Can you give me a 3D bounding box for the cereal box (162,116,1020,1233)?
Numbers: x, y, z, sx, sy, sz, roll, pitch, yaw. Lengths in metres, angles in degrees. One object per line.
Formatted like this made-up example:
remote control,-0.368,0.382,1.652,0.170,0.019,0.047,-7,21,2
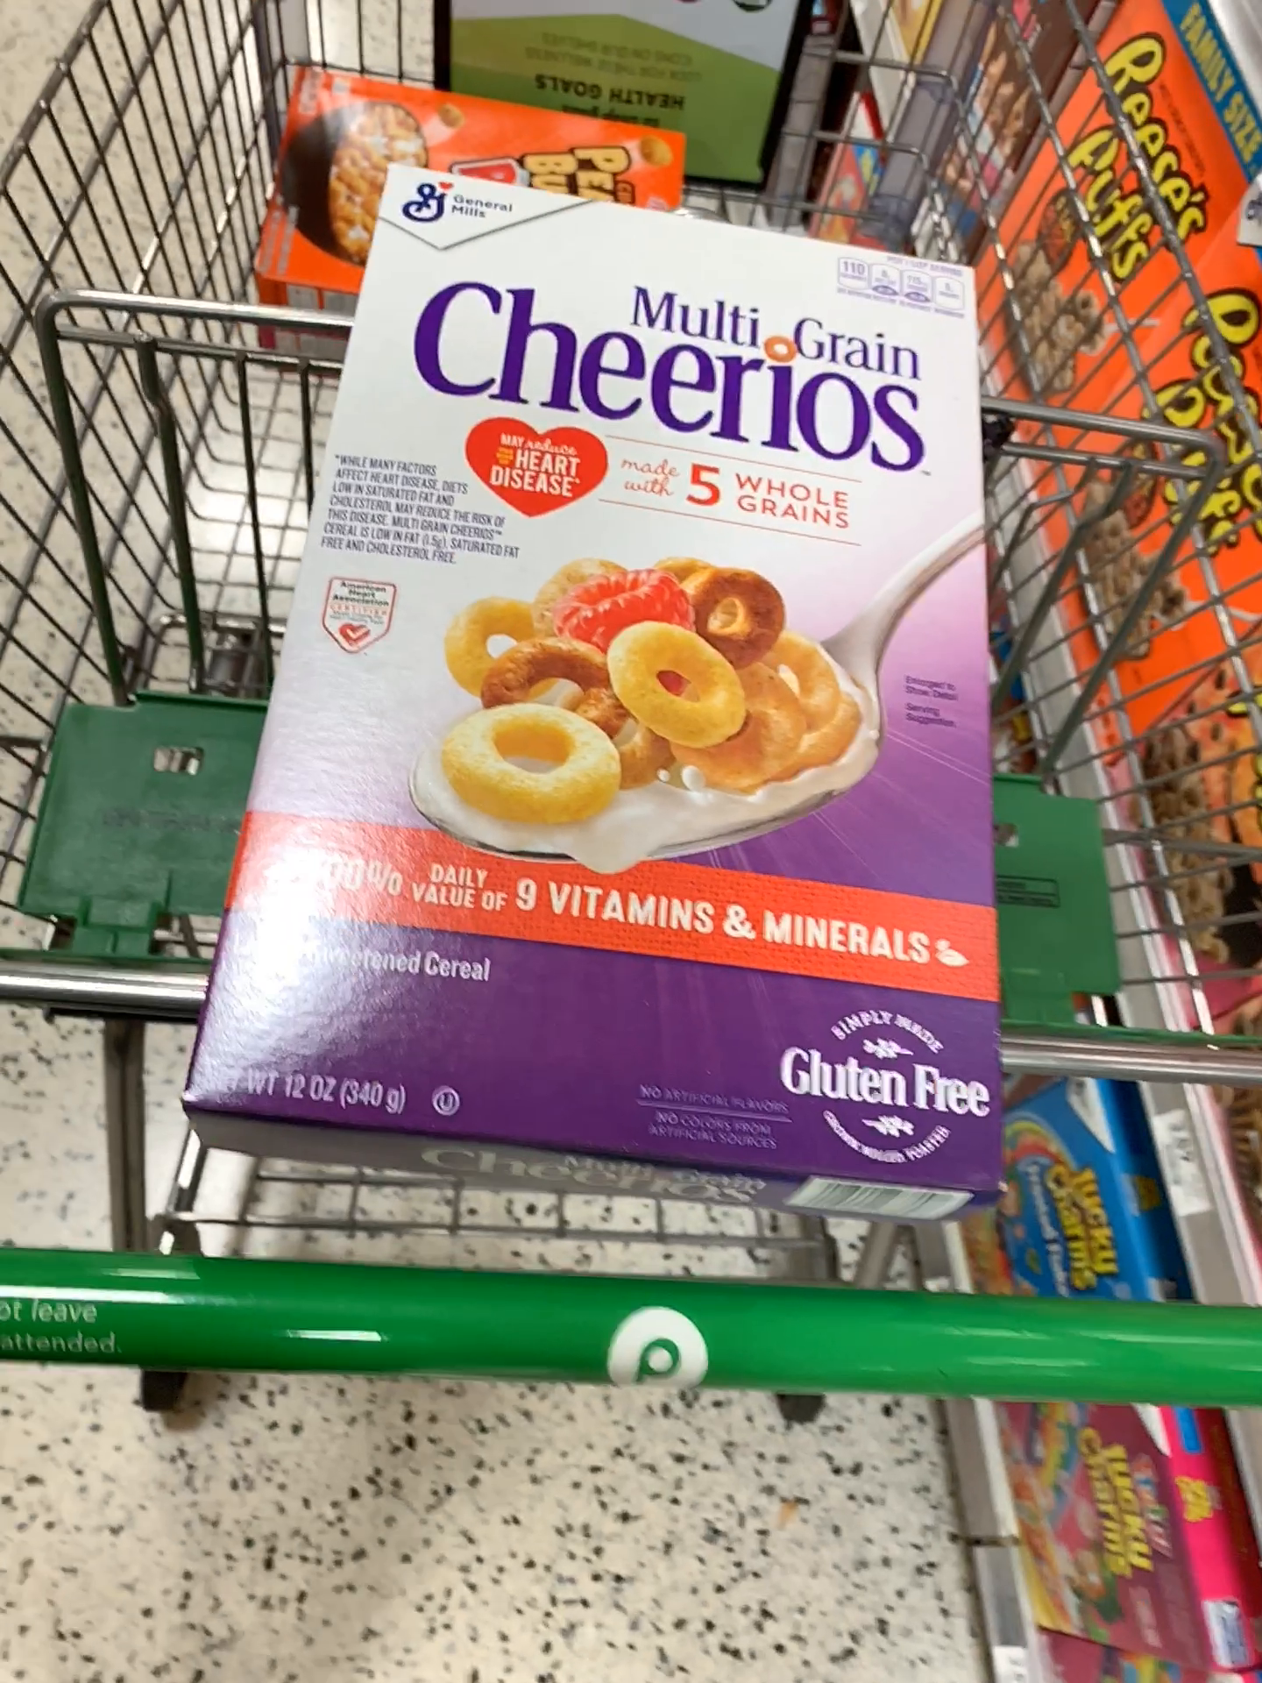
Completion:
cereal box,0.001,-0.060,0.398,0.200,0.070,0.322,8,66,-7
